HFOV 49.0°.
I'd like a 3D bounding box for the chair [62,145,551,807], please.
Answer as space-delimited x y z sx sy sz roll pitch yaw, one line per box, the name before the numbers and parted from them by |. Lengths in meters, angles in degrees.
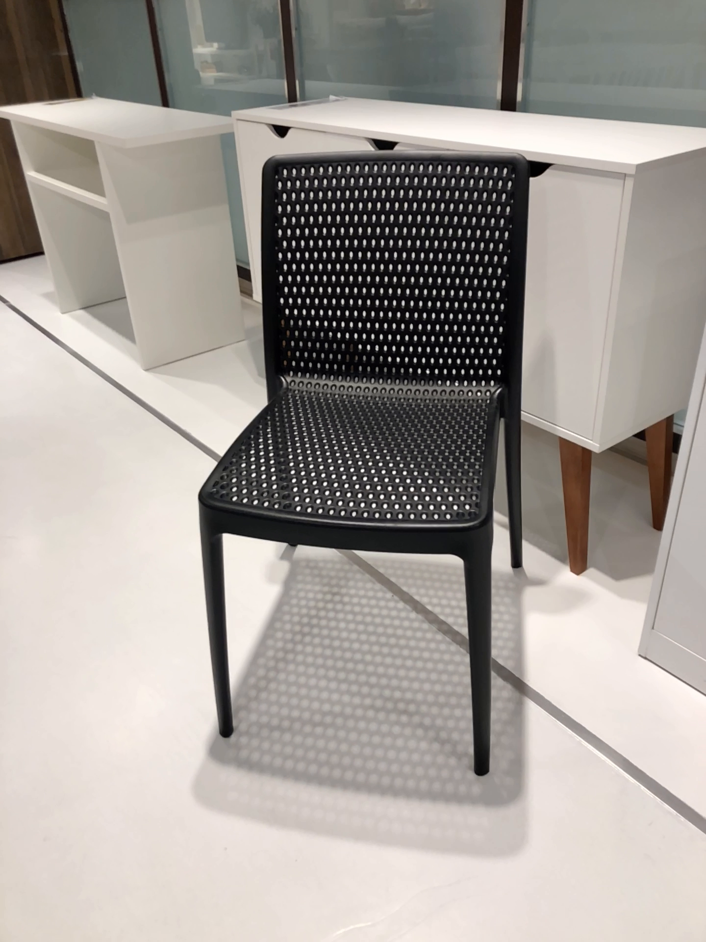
chair | 0.016 -0.022 1.284 0.530 0.863 0.605 4 32 11
